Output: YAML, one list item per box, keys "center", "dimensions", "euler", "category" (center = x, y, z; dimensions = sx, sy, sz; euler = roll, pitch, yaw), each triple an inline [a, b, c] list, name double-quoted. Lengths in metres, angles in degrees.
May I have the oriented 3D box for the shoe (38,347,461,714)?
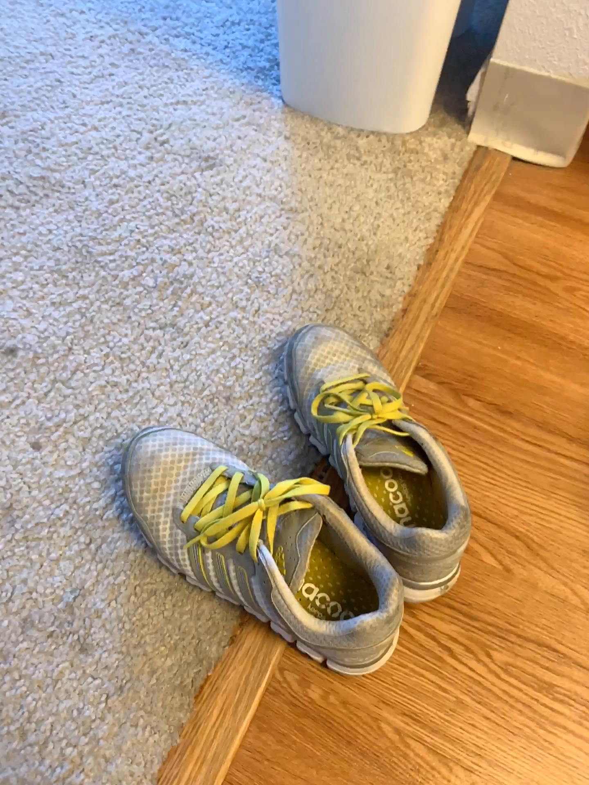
- center: [-0.035, 0.094, 0.411]
  dimensions: [0.250, 0.130, 0.080]
  euler: [32, 63, 16]
  category: "shoe"

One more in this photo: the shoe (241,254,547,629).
- center: [0.060, 0.029, 0.463]
  dimensions: [0.090, 0.090, 0.261]
  euler: [-26, 63, -8]
  category: "shoe"
